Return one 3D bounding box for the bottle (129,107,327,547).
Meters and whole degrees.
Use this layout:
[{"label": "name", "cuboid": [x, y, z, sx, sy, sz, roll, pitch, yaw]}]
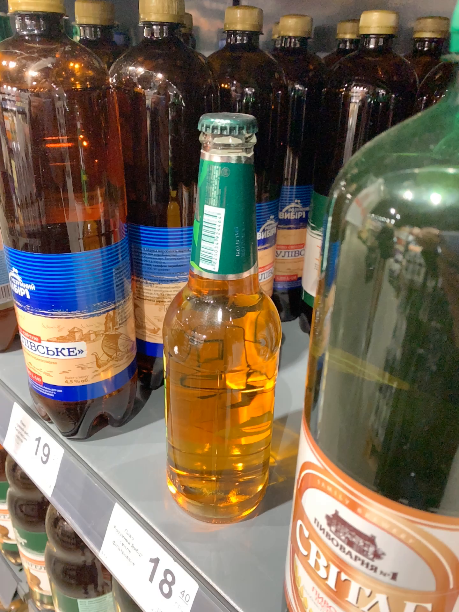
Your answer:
[{"label": "bottle", "cuboid": [-0.001, 0.018, 0.278, 0.066, 0.238, 0.072, 1, 27, -1]}]
